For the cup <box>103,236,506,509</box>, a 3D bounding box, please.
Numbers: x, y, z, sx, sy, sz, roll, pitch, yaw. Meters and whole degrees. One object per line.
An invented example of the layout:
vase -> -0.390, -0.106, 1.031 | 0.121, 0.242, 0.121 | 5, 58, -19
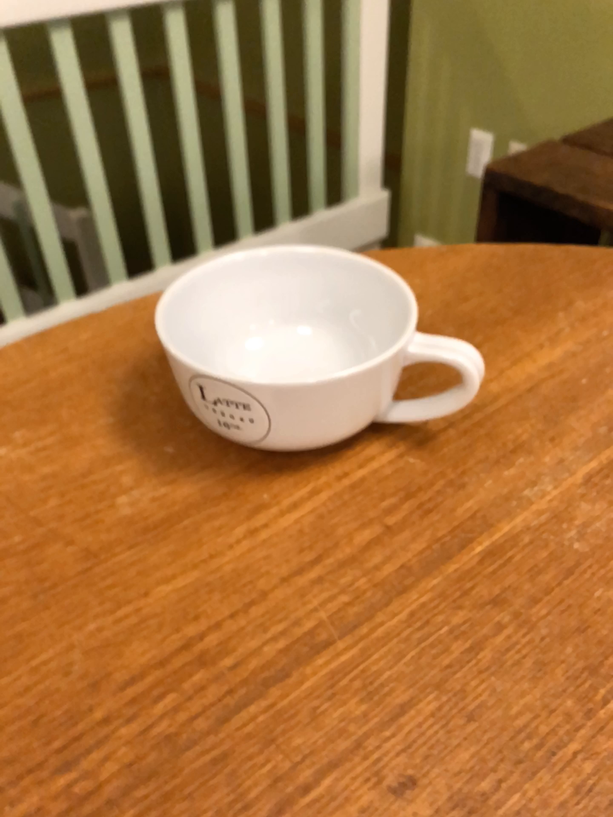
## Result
cup -> 0.010, -0.030, 0.371 | 0.179, 0.055, 0.139 | 8, 40, 12
